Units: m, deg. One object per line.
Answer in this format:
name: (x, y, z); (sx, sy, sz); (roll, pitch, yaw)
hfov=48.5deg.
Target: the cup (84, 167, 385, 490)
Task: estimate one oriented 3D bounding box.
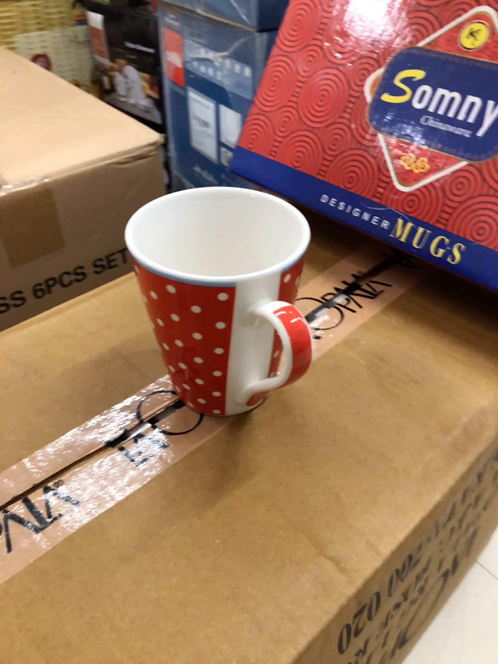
cup: (-0.012, -0.010, 0.275); (0.080, 0.089, 0.120); (-25, 45, -27)
